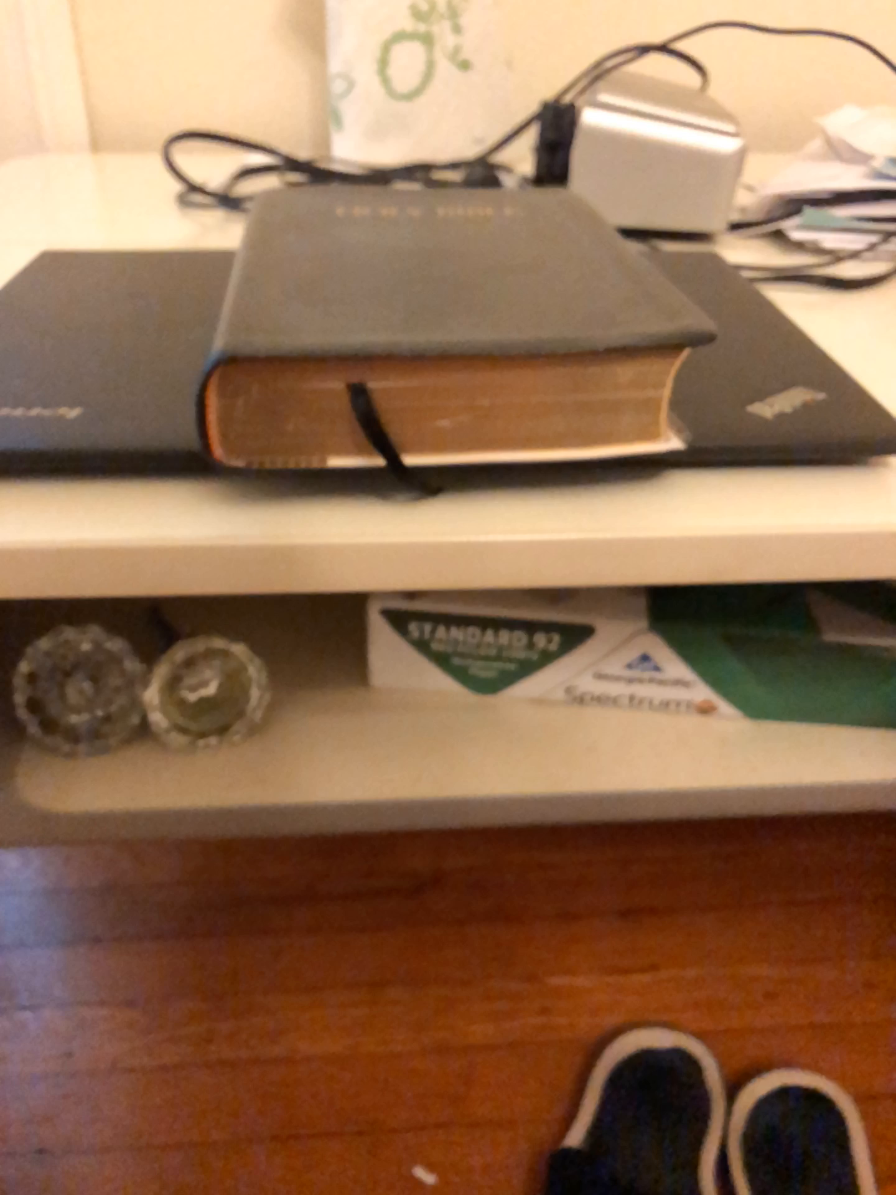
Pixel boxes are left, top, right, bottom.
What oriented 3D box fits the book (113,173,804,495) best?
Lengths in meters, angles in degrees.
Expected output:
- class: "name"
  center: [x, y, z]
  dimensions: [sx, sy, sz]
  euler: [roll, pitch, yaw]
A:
- class: "book"
  center: [-0.006, -0.110, 0.359]
  dimensions: [0.170, 0.040, 0.241]
  euler: [-2, 32, -5]
